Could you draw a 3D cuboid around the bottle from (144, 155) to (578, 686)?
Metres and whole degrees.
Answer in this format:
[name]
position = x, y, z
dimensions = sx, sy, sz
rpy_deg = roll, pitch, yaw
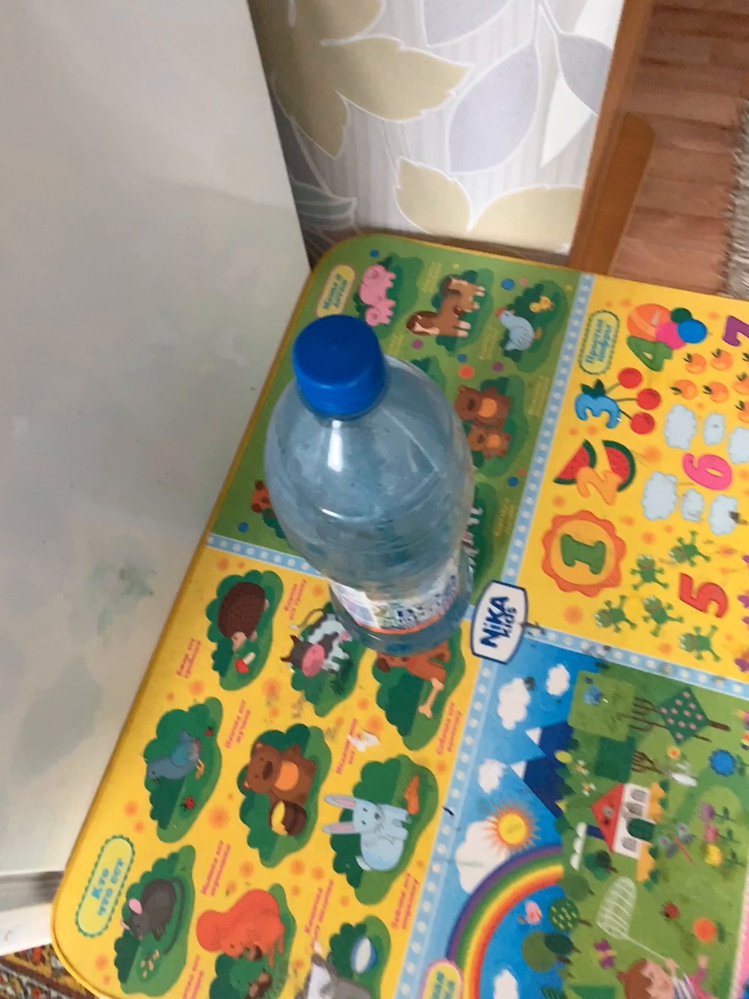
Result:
[bottle]
position = 0.009, 0.001, 0.395
dimensions = 0.100, 0.319, 0.100
rpy_deg = -2, 68, 5
